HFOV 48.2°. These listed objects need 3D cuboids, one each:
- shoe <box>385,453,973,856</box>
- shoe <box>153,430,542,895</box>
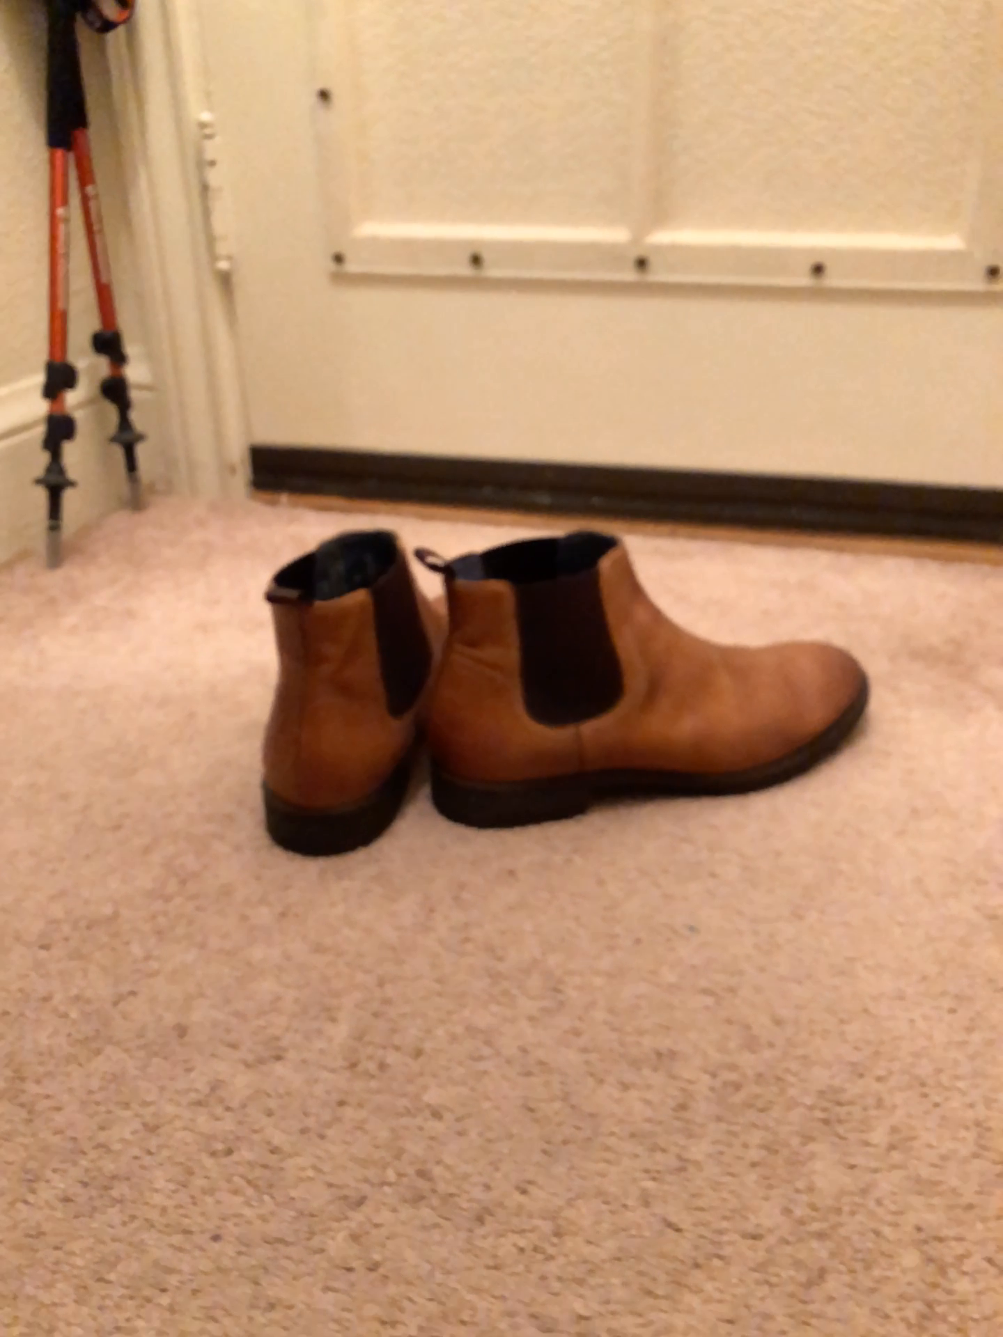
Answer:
[{"bbox_3d":[0.100,-0.018,0.670,0.312,0.165,0.110,-9,28,-16],"label":"shoe"},{"bbox_3d":[-0.072,-0.027,0.715,0.109,0.165,0.314,8,28,17],"label":"shoe"}]
